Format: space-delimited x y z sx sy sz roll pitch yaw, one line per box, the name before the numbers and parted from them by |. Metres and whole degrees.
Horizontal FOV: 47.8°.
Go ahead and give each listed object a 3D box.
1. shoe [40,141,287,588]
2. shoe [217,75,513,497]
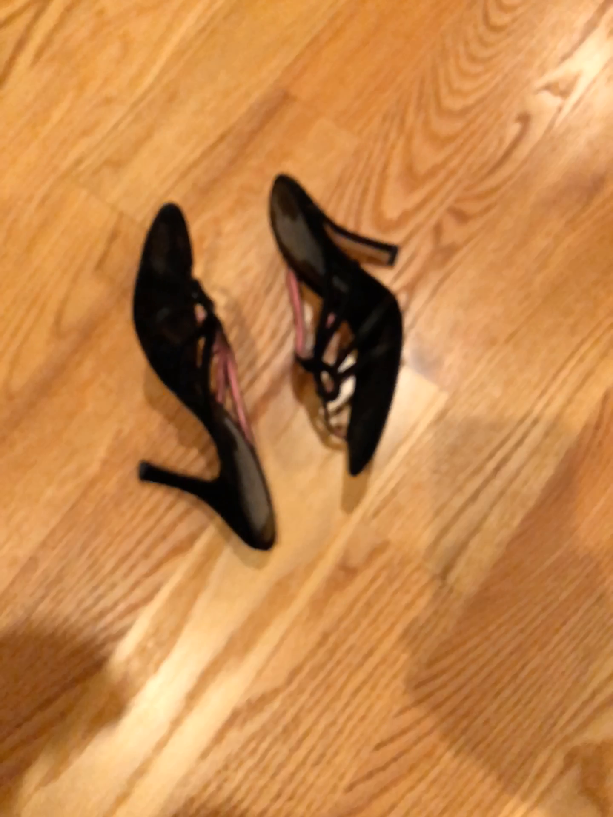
shoe | -0.082 -0.021 0.418 0.082 0.104 0.236 -14 76 -4
shoe | 0.028 -0.069 0.428 0.102 0.104 0.216 -16 77 -2
